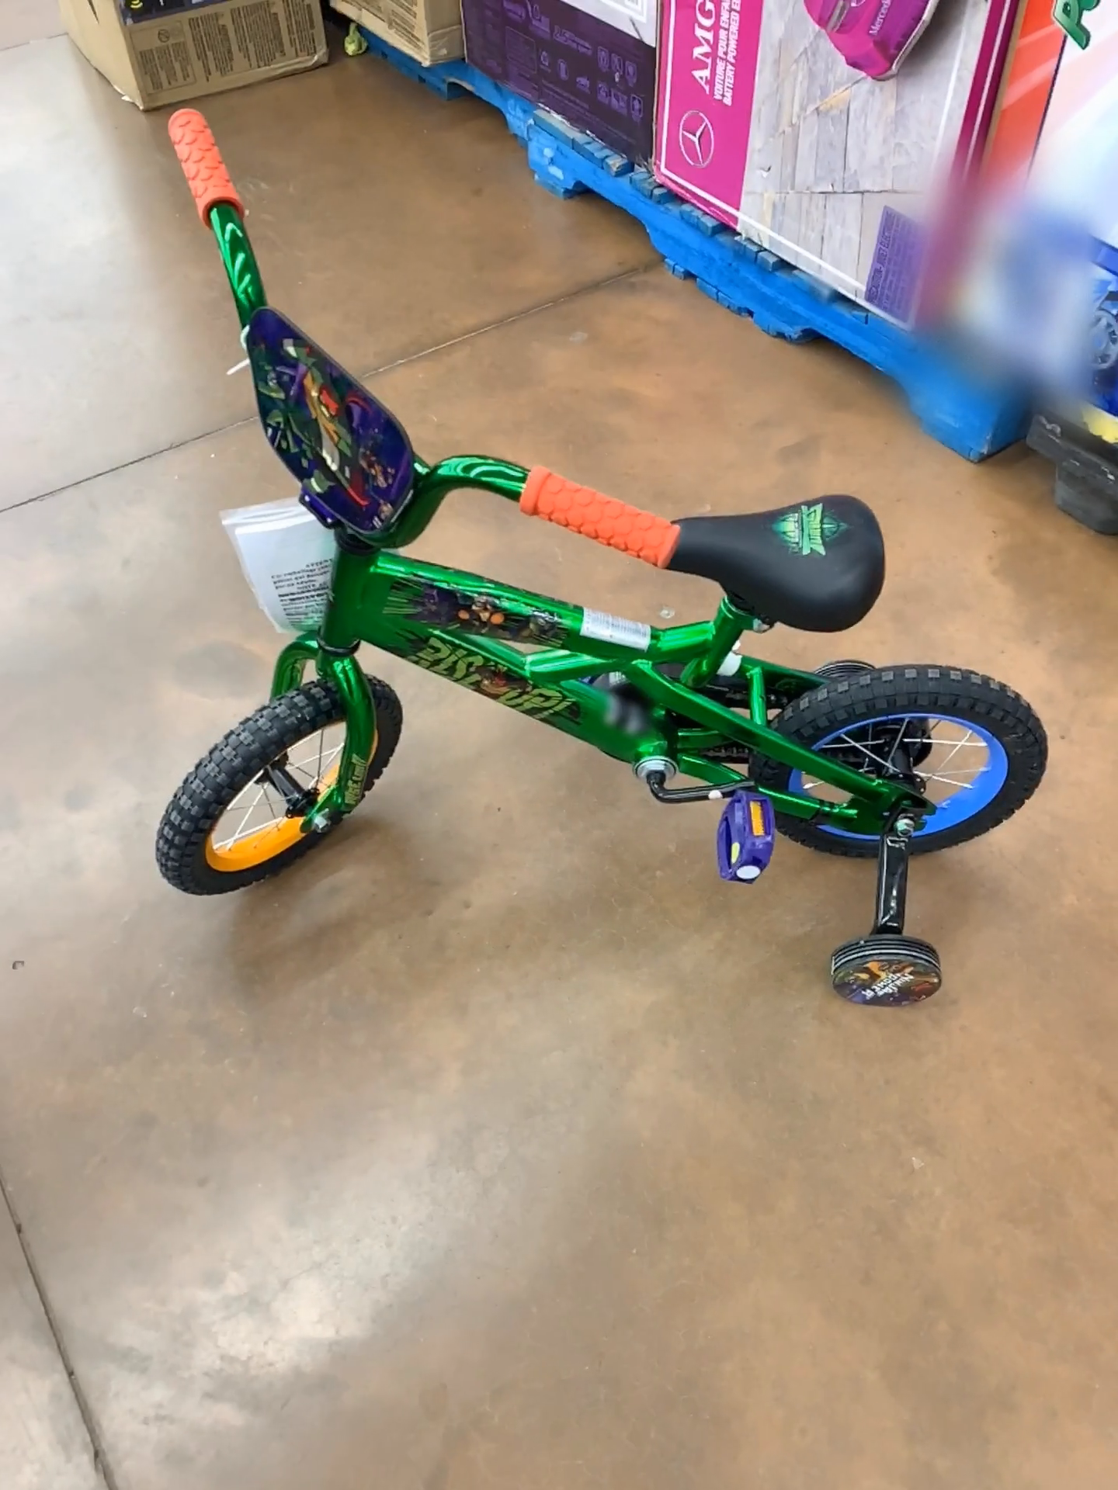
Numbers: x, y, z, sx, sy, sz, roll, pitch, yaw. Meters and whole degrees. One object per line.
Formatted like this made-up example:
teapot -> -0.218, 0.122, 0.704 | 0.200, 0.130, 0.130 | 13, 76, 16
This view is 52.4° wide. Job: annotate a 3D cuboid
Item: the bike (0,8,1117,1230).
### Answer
bike -> 0.070, -0.059, 0.886 | 0.850, 0.733, 0.491 | -5, 50, -7
